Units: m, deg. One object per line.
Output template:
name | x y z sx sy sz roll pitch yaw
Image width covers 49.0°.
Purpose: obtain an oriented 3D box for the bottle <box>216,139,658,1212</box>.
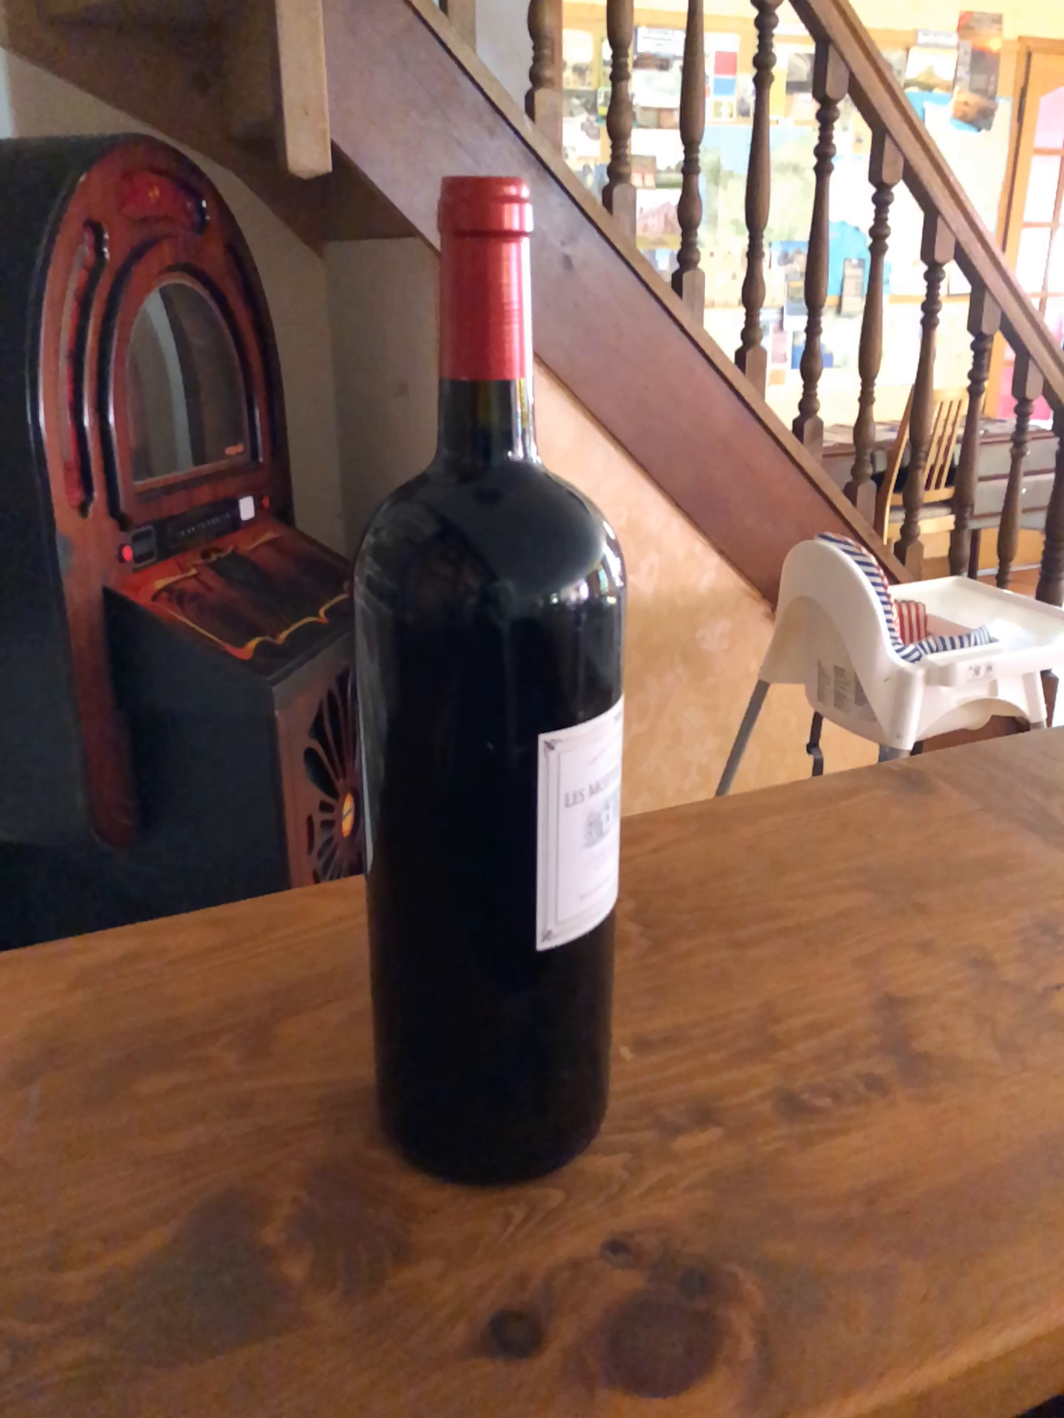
bottle | -0.024 -0.006 0.419 0.100 0.348 0.101 0 21 0
